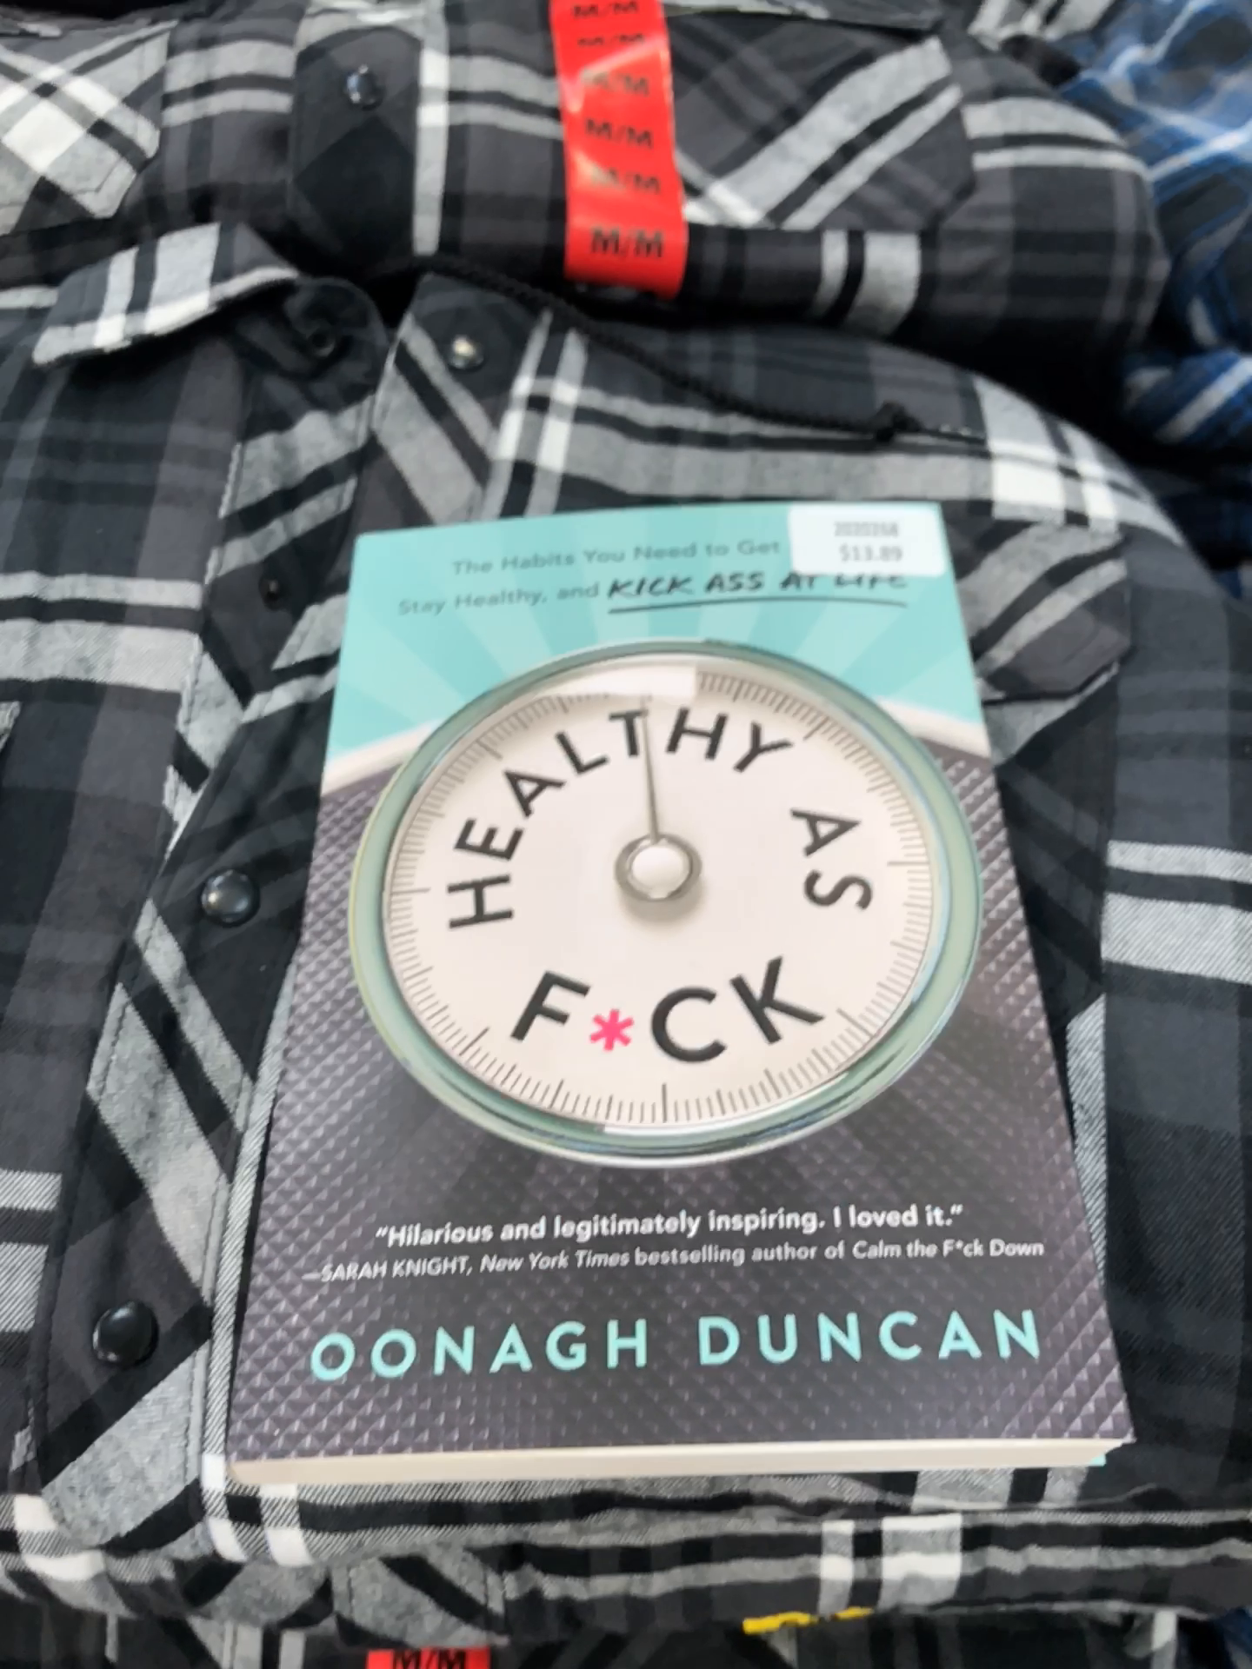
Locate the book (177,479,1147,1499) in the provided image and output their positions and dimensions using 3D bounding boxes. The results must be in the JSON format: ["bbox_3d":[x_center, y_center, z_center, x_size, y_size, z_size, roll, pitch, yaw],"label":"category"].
[{"bbox_3d":[0.004,0.012,0.309,0.156,0.028,0.238,-1,53,0],"label":"book"}]
